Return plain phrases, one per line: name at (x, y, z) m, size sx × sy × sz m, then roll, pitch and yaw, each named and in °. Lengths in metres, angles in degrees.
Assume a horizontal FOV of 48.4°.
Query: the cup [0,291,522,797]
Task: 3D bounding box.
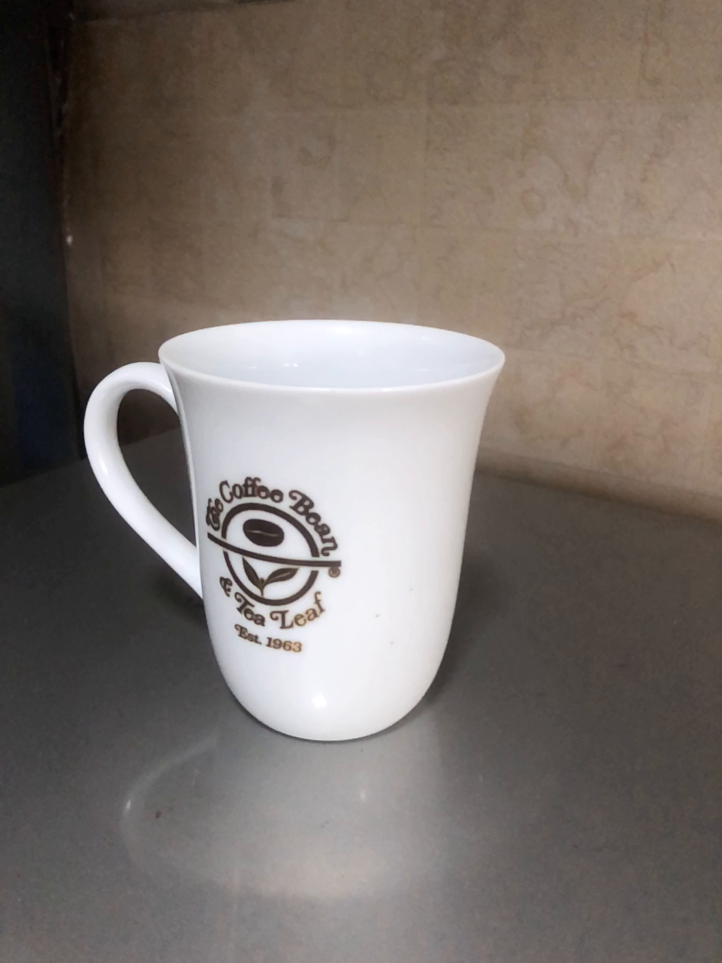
cup at (-0.028, 0.006, 0.248) m, size 0.130 × 0.109 × 0.090 m, roll 8°, pitch 21°, yaw 18°
